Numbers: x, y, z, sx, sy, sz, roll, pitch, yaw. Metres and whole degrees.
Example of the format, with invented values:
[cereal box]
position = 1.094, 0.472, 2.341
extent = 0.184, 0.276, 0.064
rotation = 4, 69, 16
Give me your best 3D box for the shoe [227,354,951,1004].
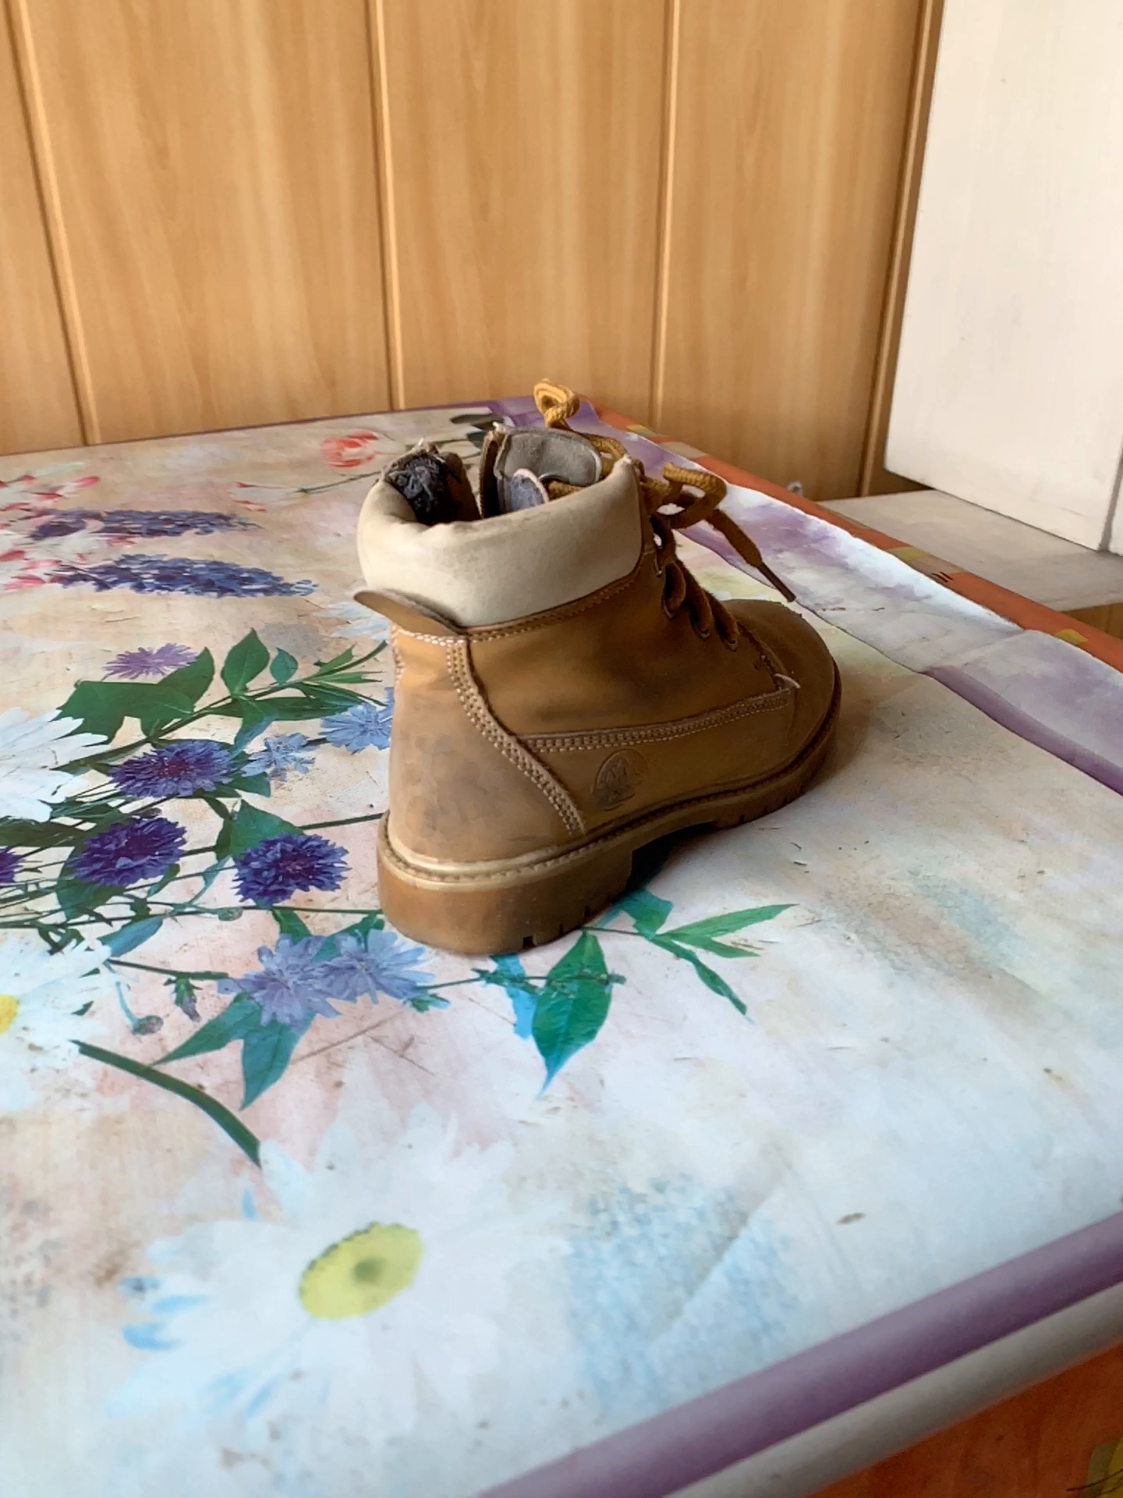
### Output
[shoe]
position = 0.022, -0.042, 0.371
extent = 0.090, 0.129, 0.221
rotation = 23, 35, 38
